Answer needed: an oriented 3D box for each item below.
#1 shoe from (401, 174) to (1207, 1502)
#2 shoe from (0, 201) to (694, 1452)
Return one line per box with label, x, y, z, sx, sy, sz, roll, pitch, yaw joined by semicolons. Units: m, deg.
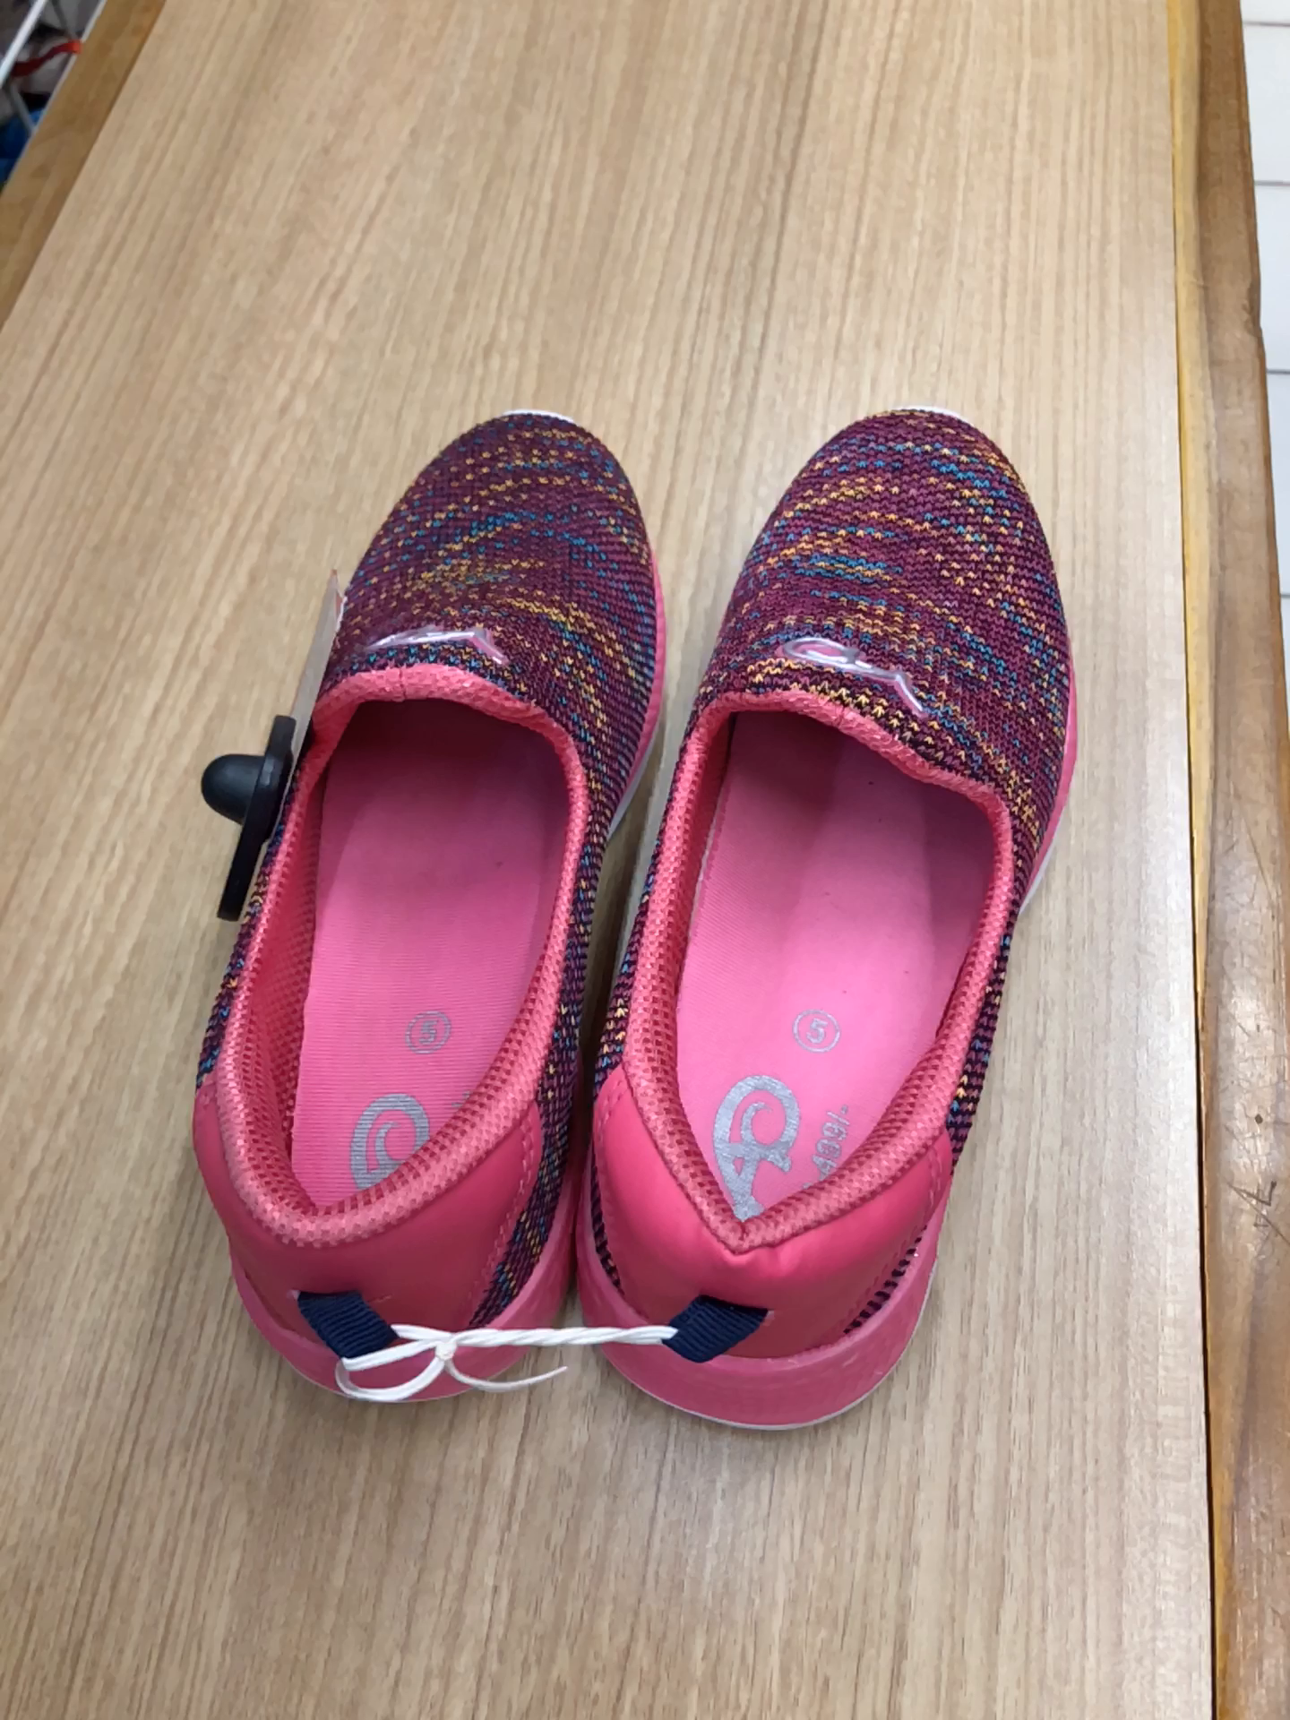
shoe;0.045;-0.013;0.297;0.104;0.103;0.245;8;64;10
shoe;-0.055;-0.014;0.308;0.104;0.103;0.245;3;63;7
